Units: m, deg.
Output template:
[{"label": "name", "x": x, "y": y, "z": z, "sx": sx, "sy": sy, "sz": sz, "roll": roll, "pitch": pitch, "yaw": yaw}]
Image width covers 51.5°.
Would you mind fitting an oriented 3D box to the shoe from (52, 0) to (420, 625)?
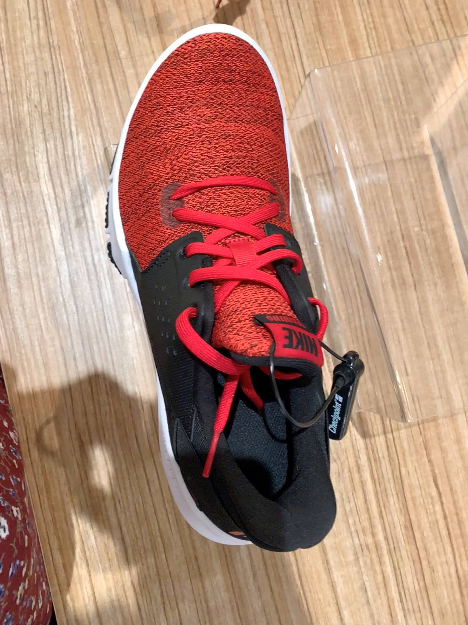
[{"label": "shoe", "x": -0.005, "y": -0.020, "z": 0.241, "sx": 0.110, "sy": 0.080, "sz": 0.290, "roll": -9, "pitch": 86, "yaw": -9}]
